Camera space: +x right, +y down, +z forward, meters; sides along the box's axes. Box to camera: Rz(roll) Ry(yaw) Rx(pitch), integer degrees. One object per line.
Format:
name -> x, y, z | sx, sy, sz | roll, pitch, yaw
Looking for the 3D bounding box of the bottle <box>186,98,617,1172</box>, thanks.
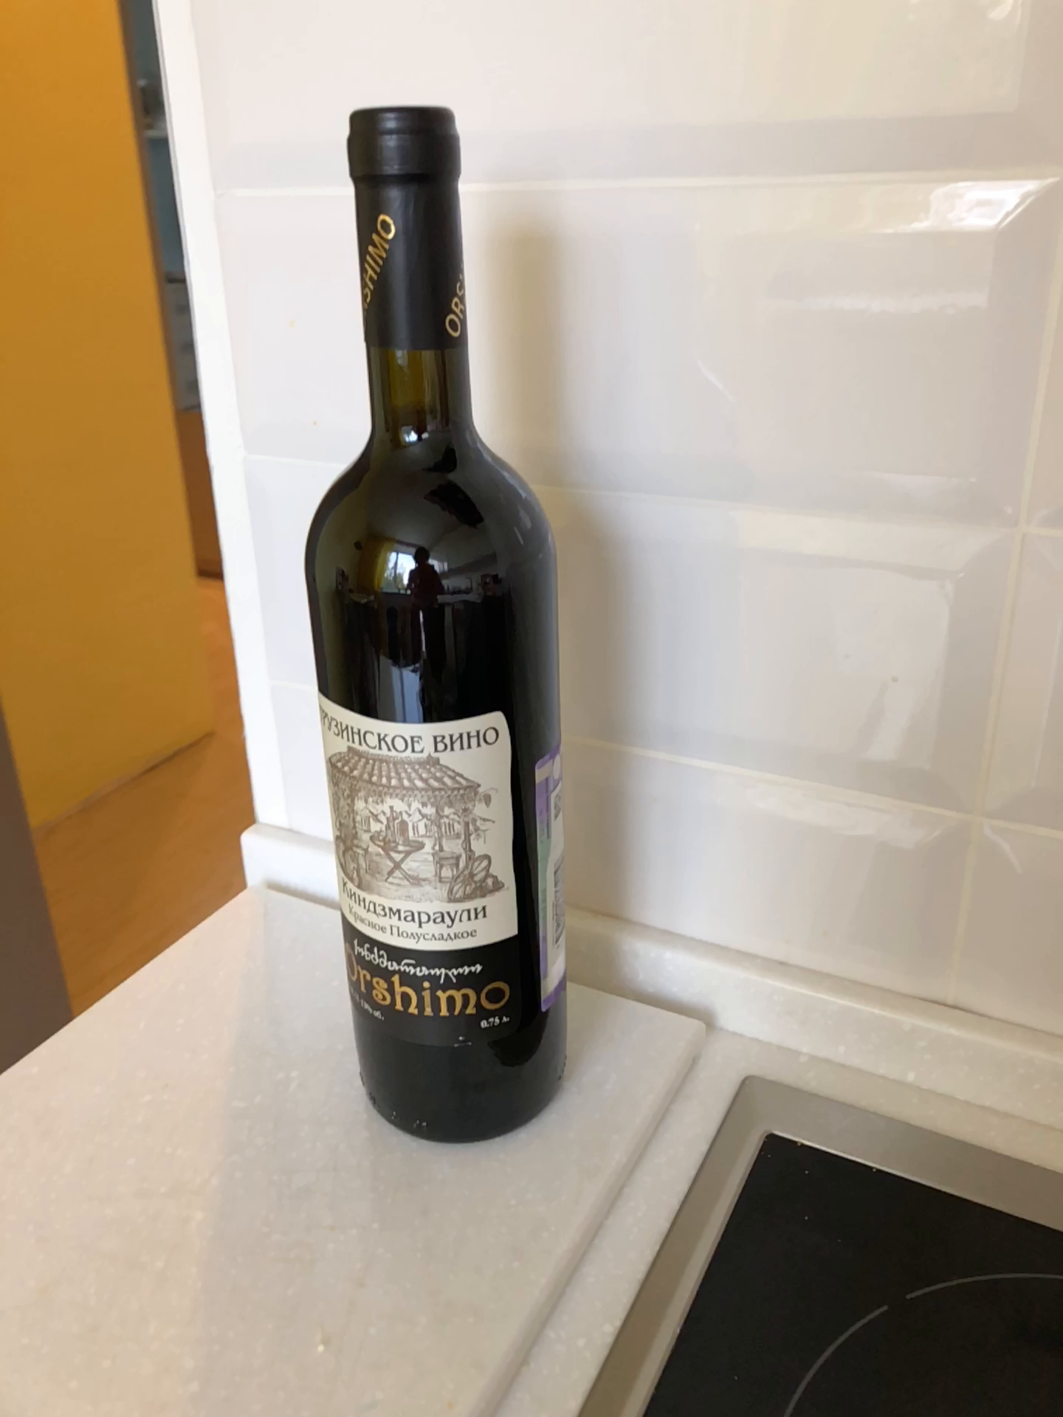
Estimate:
bottle -> -0.026, -0.013, 0.354 | 0.080, 0.298, 0.080 | -1, 24, 0
